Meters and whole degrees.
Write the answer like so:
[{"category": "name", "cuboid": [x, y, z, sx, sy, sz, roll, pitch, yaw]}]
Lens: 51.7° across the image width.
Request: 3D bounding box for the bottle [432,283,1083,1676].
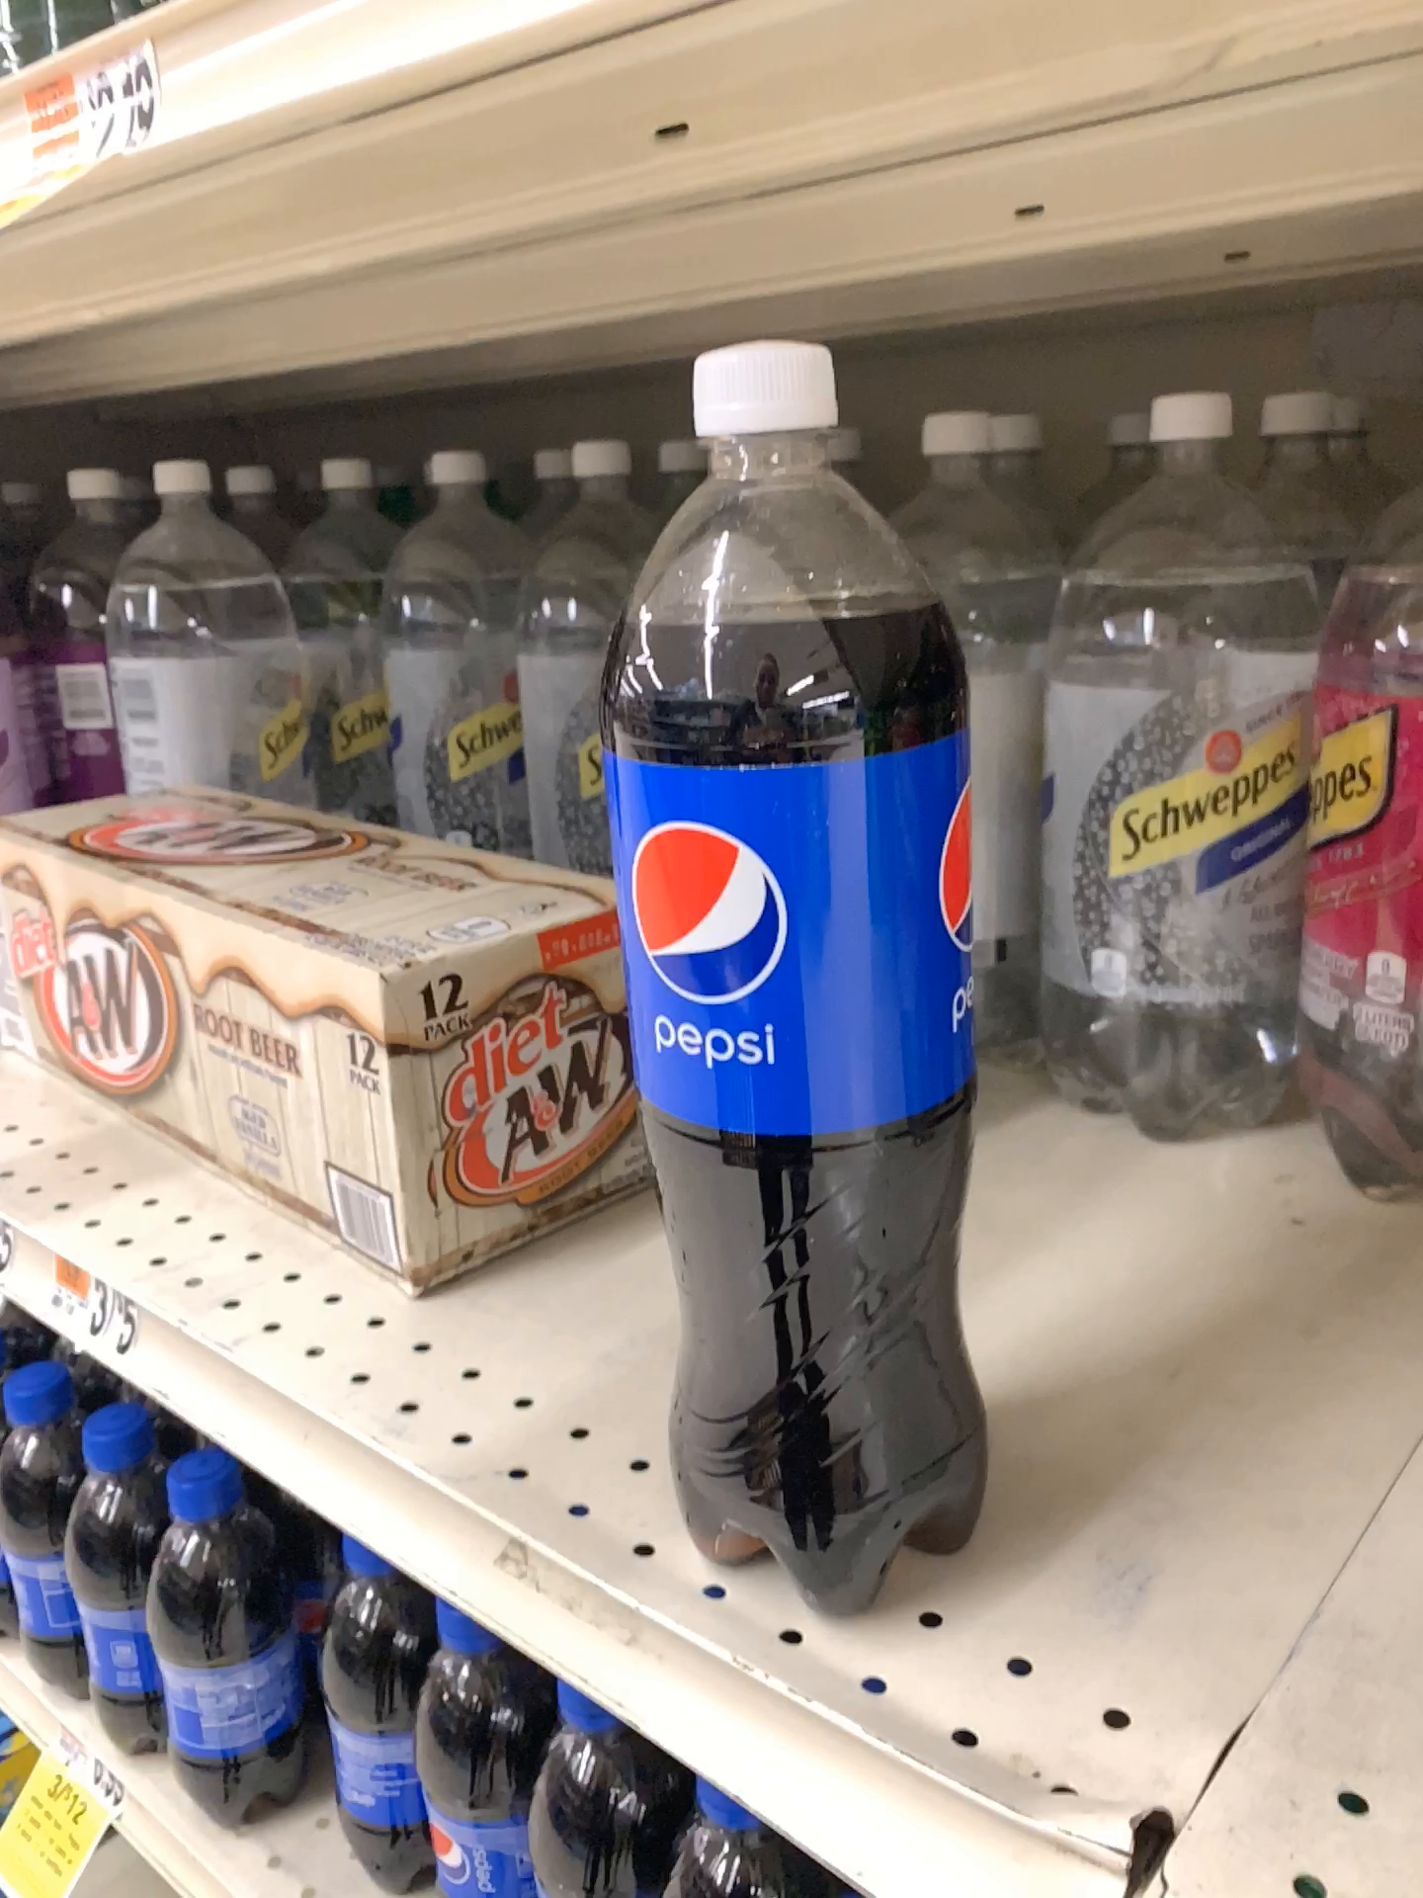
[{"category": "bottle", "cuboid": [0.016, 0.005, 0.344, 0.101, 0.279, 0.090, 11, 21, 38]}]
